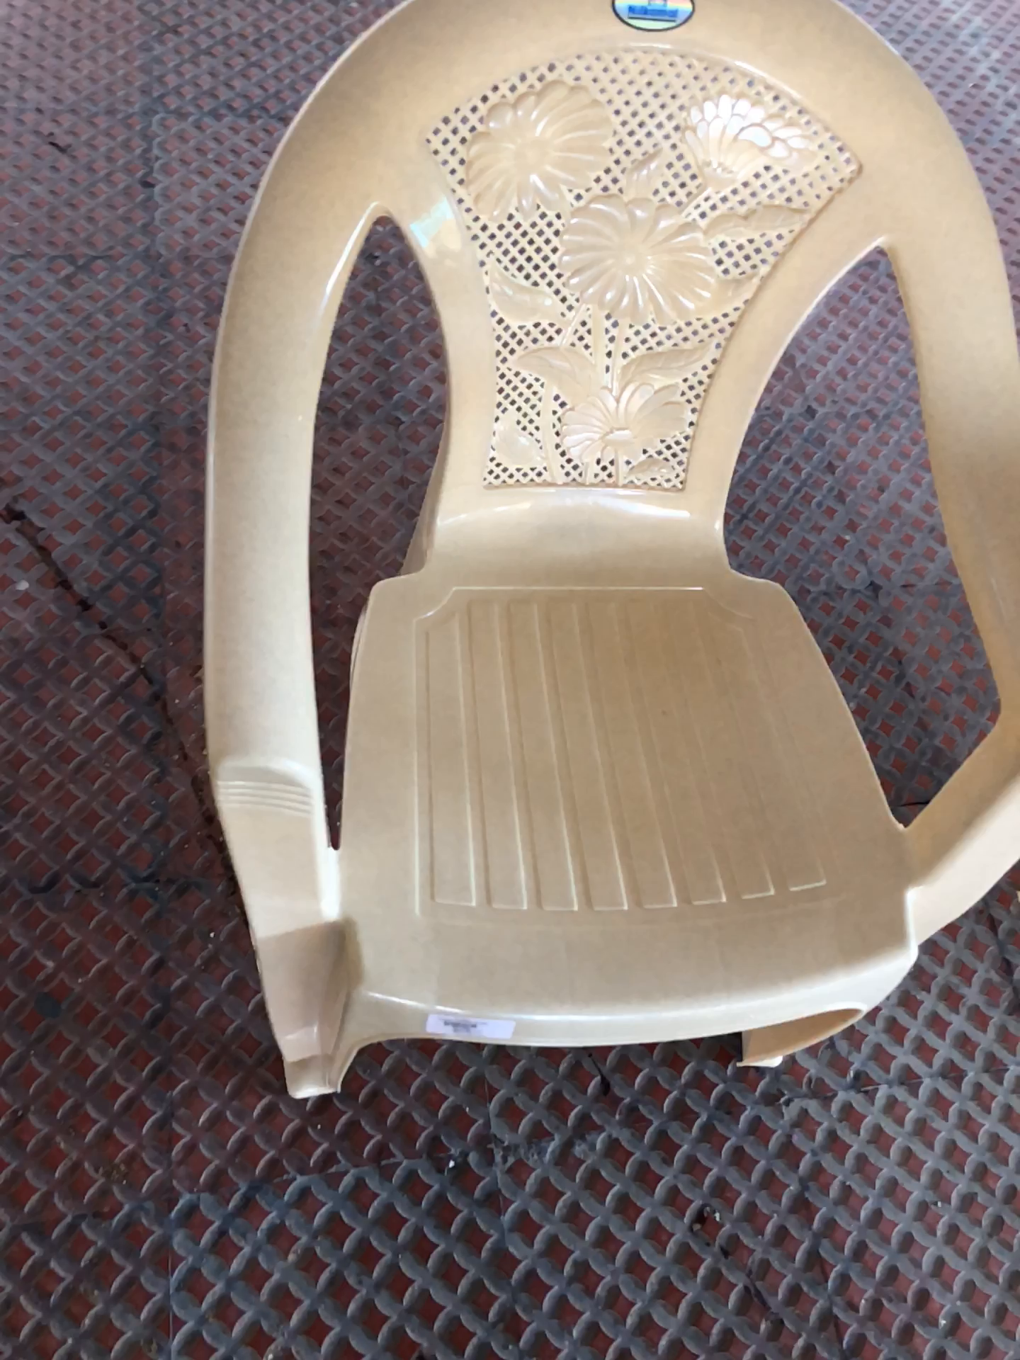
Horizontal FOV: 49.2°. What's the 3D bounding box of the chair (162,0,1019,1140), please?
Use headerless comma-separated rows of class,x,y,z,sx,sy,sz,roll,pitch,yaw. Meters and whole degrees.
chair,0.059,-0.030,0.893,0.530,0.806,0.612,-1,62,-10
